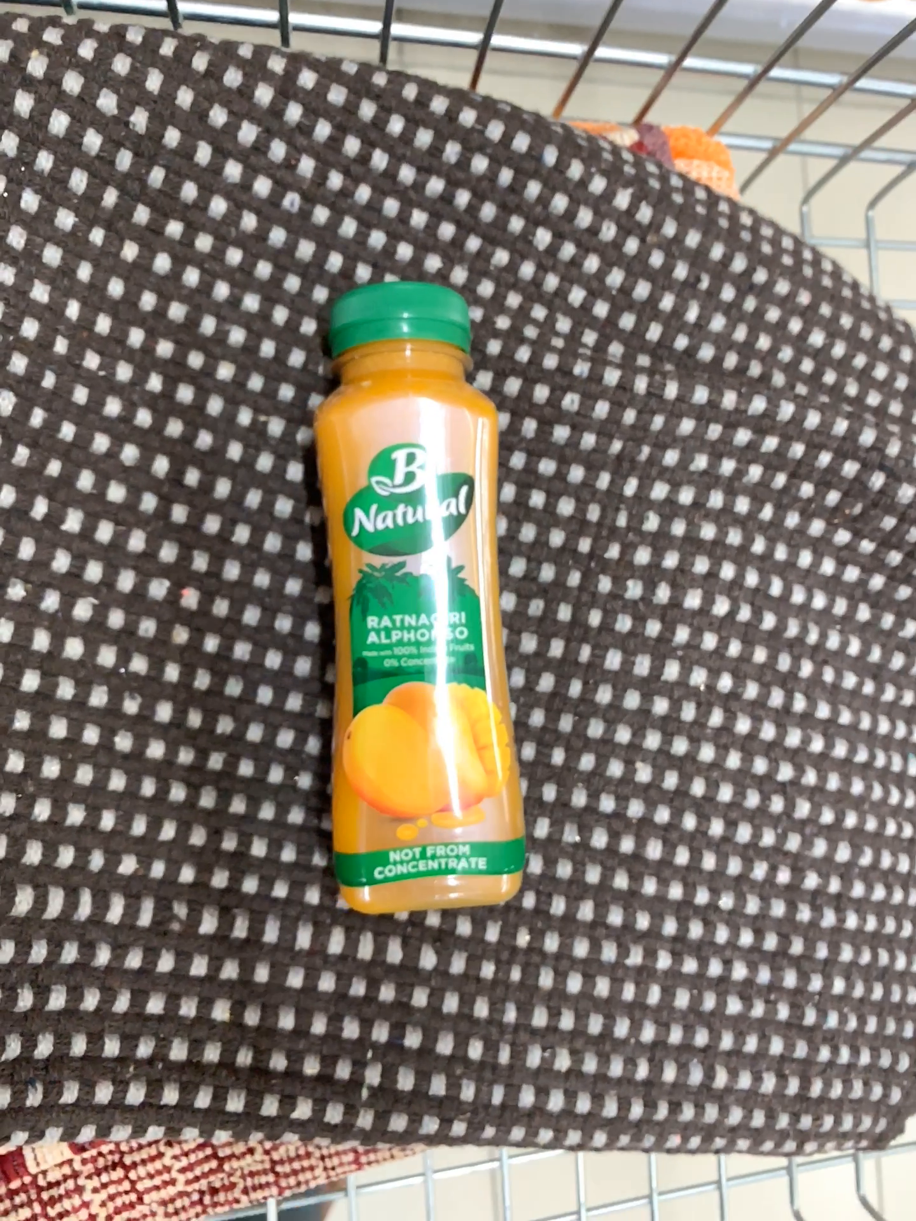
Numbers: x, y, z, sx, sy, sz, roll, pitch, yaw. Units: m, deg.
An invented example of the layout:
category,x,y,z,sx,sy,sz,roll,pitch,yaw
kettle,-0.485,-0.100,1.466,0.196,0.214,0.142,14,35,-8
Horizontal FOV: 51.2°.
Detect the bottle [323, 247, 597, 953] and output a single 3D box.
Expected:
category,x,y,z,sx,sy,sz,roll,pitch,yaw
bottle,-0.002,-0.003,0.246,0.060,0.050,0.160,-1,89,-9
